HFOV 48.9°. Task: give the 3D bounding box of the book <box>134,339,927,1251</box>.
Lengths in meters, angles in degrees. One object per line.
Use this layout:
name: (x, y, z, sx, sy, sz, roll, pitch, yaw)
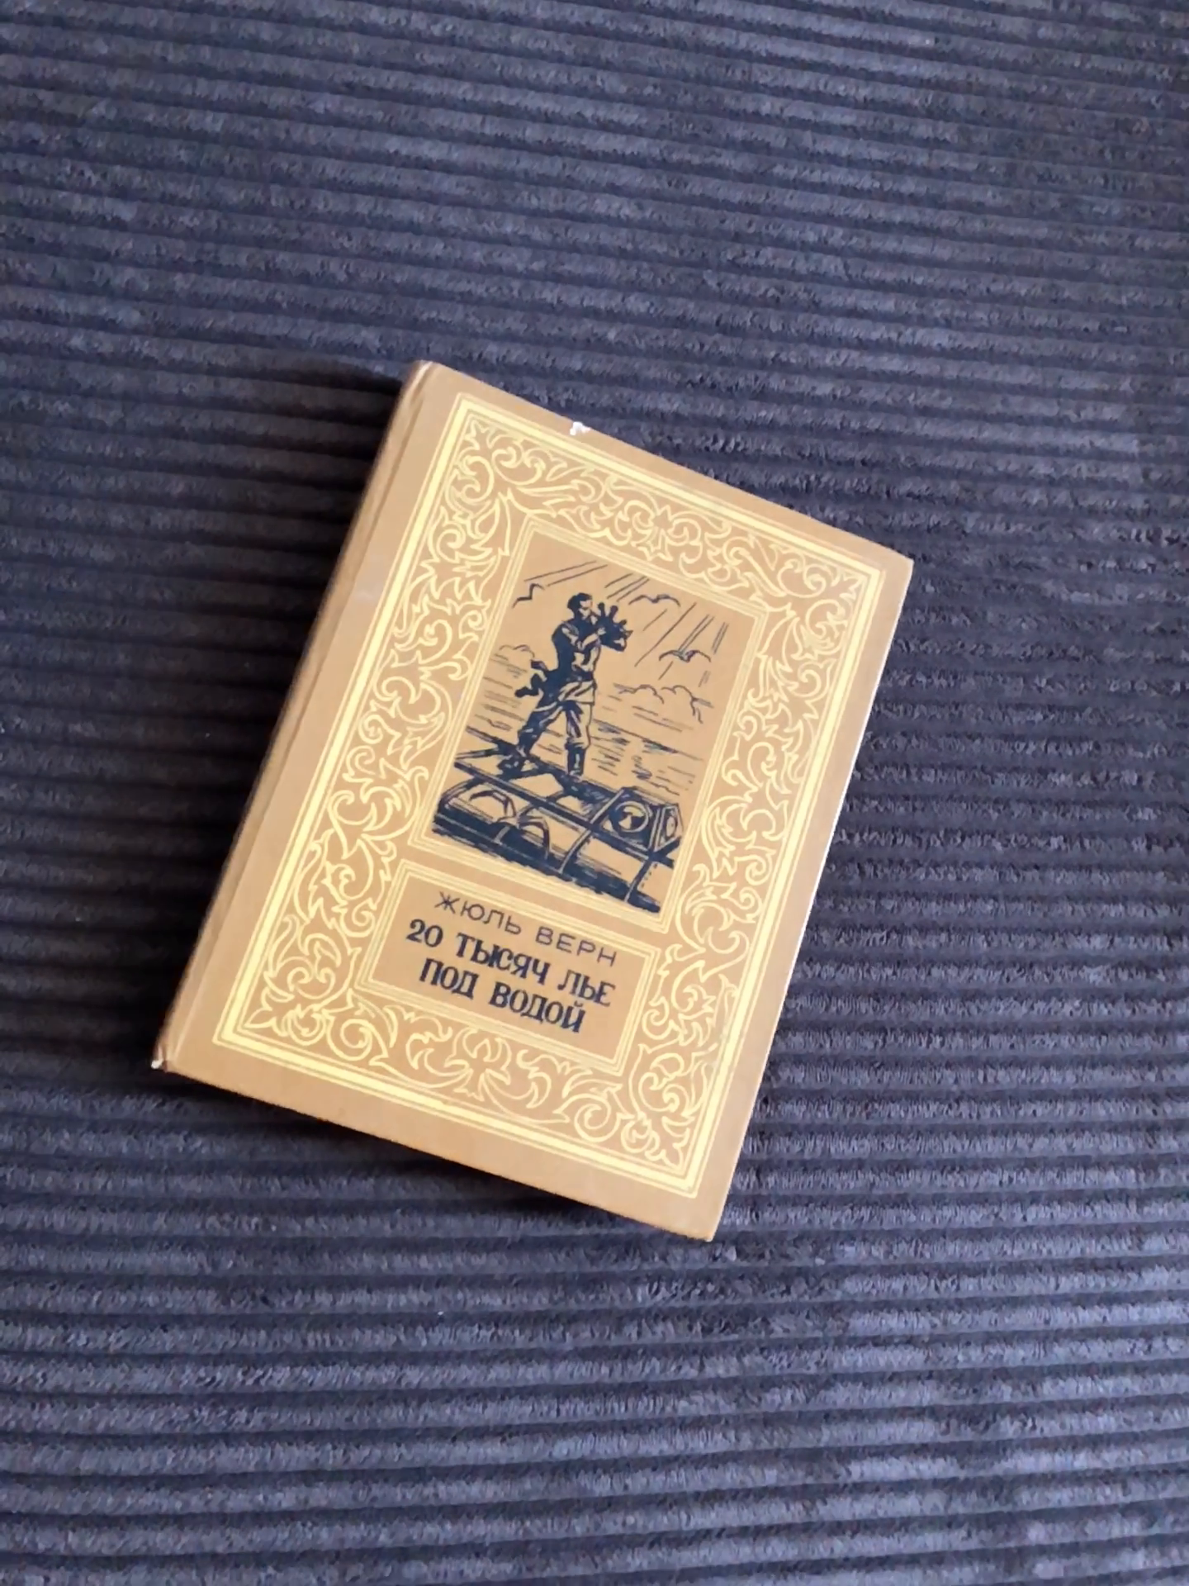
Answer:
book: (-0.011, 0.001, 0.390, 0.170, 0.029, 0.219, 20, 80, -10)
